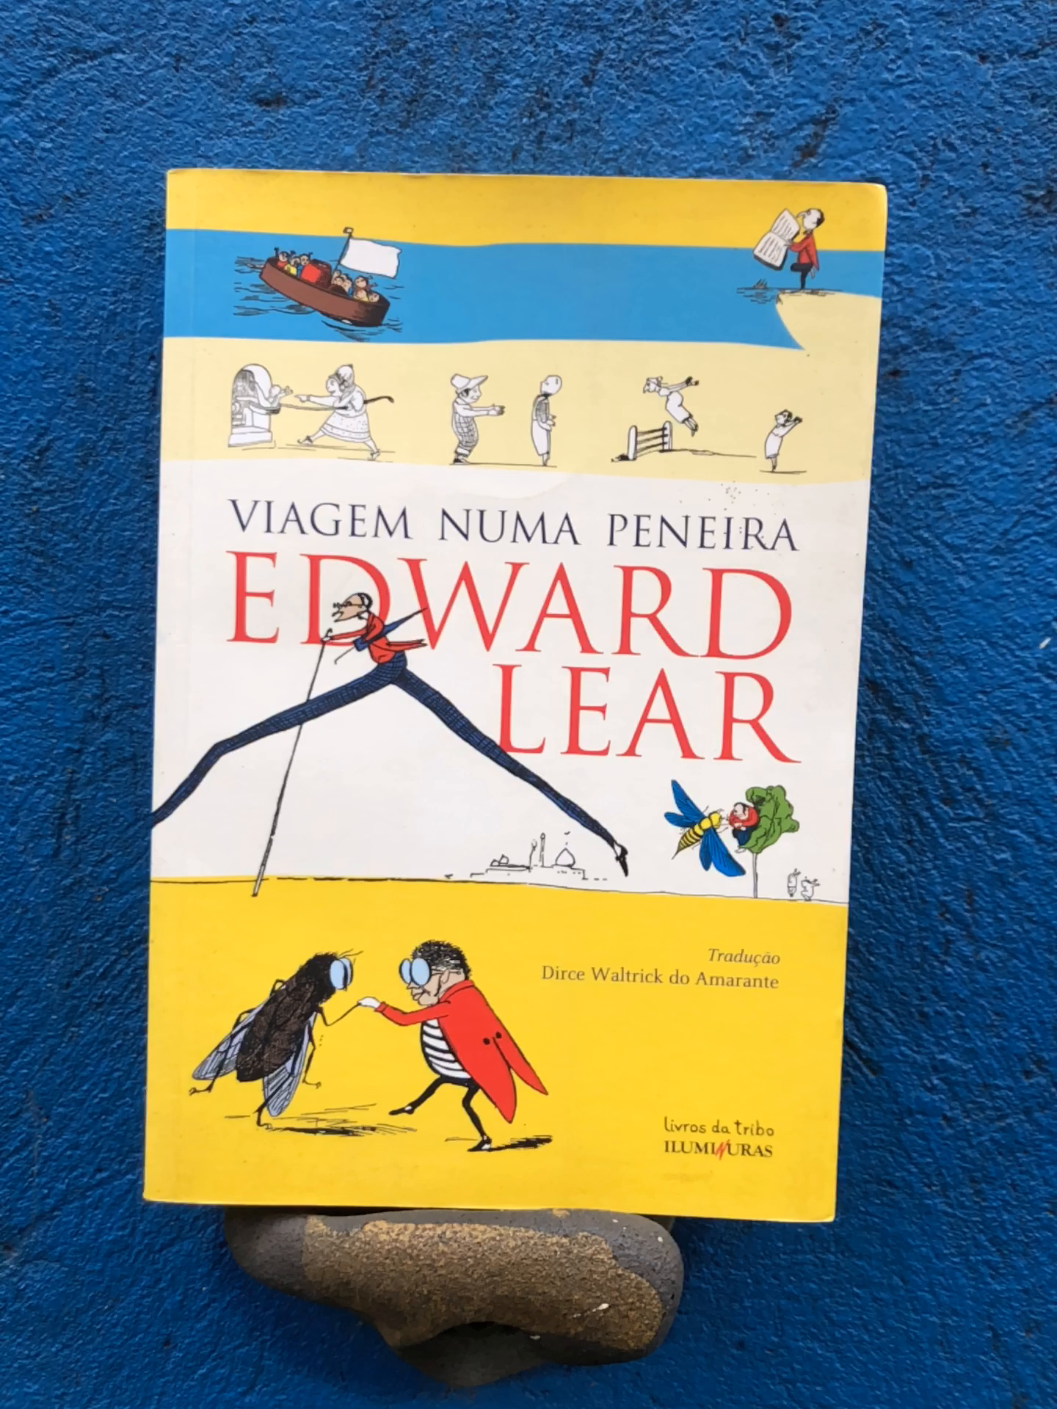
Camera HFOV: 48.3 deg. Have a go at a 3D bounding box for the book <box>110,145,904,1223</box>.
[{"bbox_3d":[-0.006,-0.001,0.257,0.158,0.220,0.021,2,3,-2],"label":"book"}]
